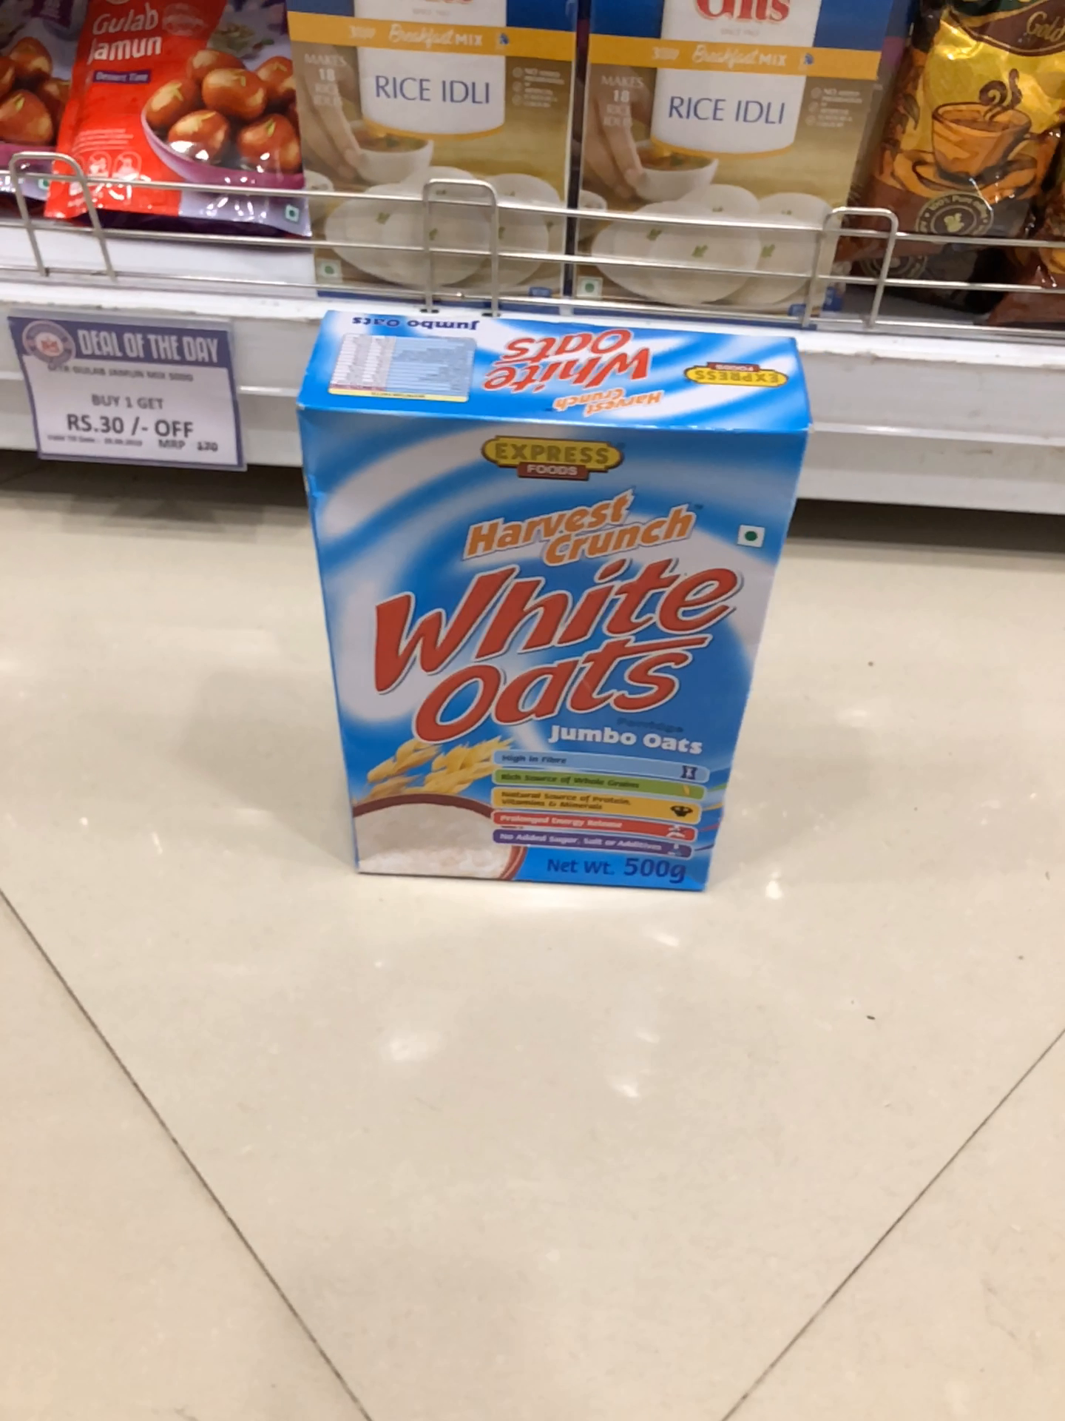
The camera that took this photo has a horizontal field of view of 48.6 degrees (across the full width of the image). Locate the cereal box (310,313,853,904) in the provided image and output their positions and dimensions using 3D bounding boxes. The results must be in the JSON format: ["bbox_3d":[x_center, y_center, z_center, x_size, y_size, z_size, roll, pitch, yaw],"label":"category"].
[{"bbox_3d":[0.012,-0.022,0.425,0.150,0.219,0.060,3,47,1],"label":"cereal box"}]
